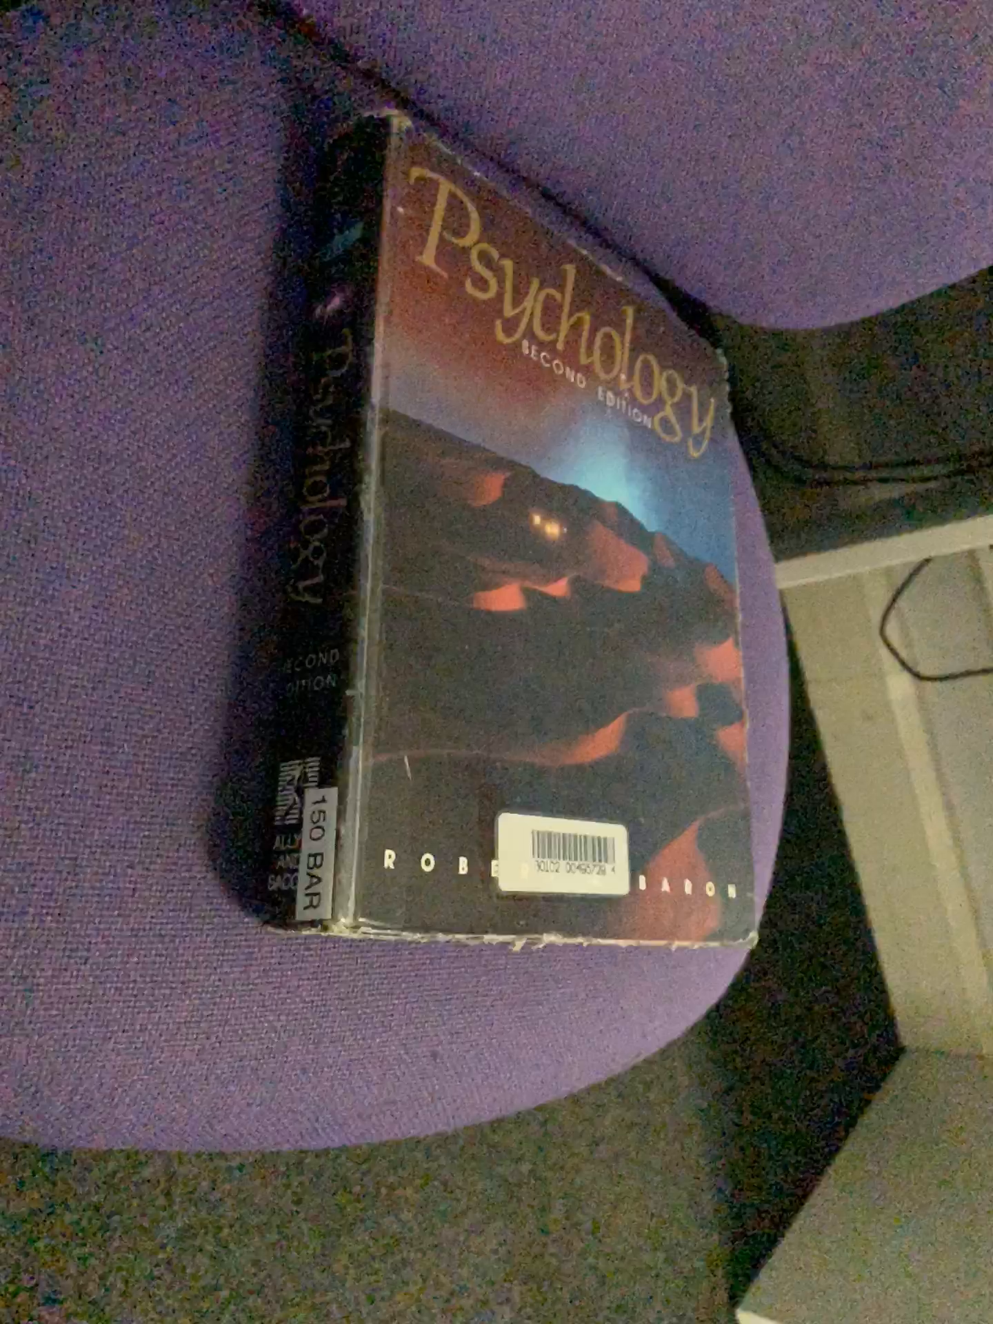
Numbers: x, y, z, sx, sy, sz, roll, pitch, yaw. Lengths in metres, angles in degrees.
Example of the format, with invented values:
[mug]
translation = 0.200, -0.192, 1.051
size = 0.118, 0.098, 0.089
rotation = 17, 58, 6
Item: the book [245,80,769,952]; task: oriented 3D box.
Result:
[book]
translation = 0.027, -0.034, 0.403
size = 0.231, 0.040, 0.281
rotation = 17, 69, -43
